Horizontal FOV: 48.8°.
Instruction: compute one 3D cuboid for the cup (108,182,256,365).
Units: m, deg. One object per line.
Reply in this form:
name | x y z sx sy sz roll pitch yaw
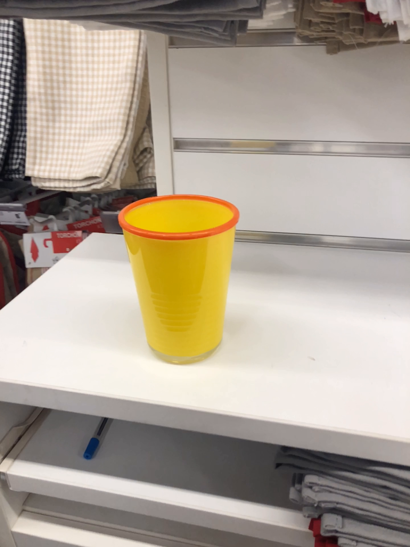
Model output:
cup | -0.016 -0.005 0.317 0.084 0.094 0.089 -1 26 0
